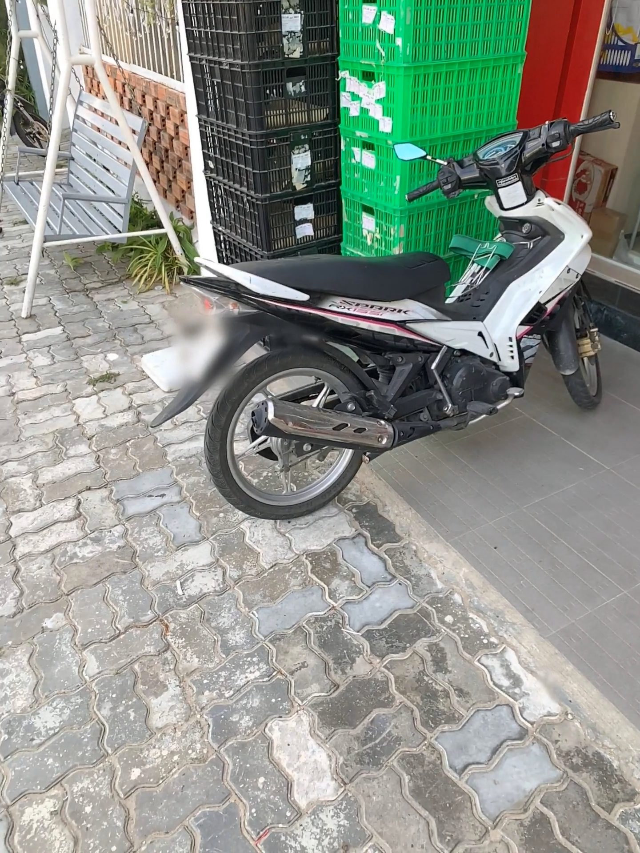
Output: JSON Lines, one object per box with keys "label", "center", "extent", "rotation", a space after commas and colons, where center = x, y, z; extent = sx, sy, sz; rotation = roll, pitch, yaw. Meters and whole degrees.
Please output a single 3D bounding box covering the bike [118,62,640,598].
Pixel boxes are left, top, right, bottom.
{"label": "bike", "center": [0.365, -0.475, 2.270], "extent": [1.817, 1.186, 0.669], "rotation": [-23, 40, -28]}
